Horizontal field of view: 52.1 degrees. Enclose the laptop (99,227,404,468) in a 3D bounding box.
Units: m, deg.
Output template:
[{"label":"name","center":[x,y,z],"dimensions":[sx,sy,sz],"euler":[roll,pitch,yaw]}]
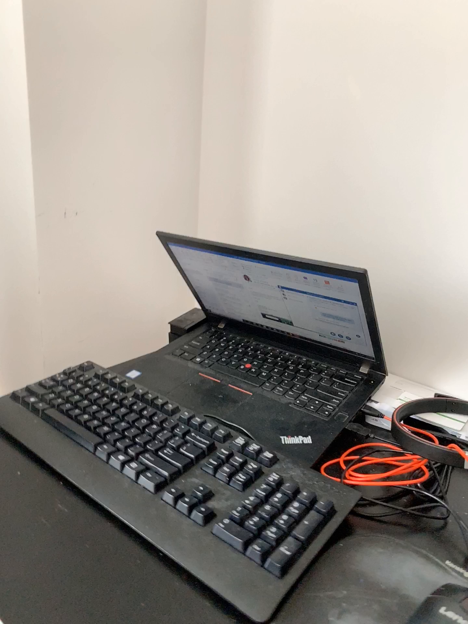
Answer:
[{"label":"laptop","center":[0.018,0.012,0.675],"dimensions":[0.335,0.172,0.237],"euler":[15,26,33]}]
